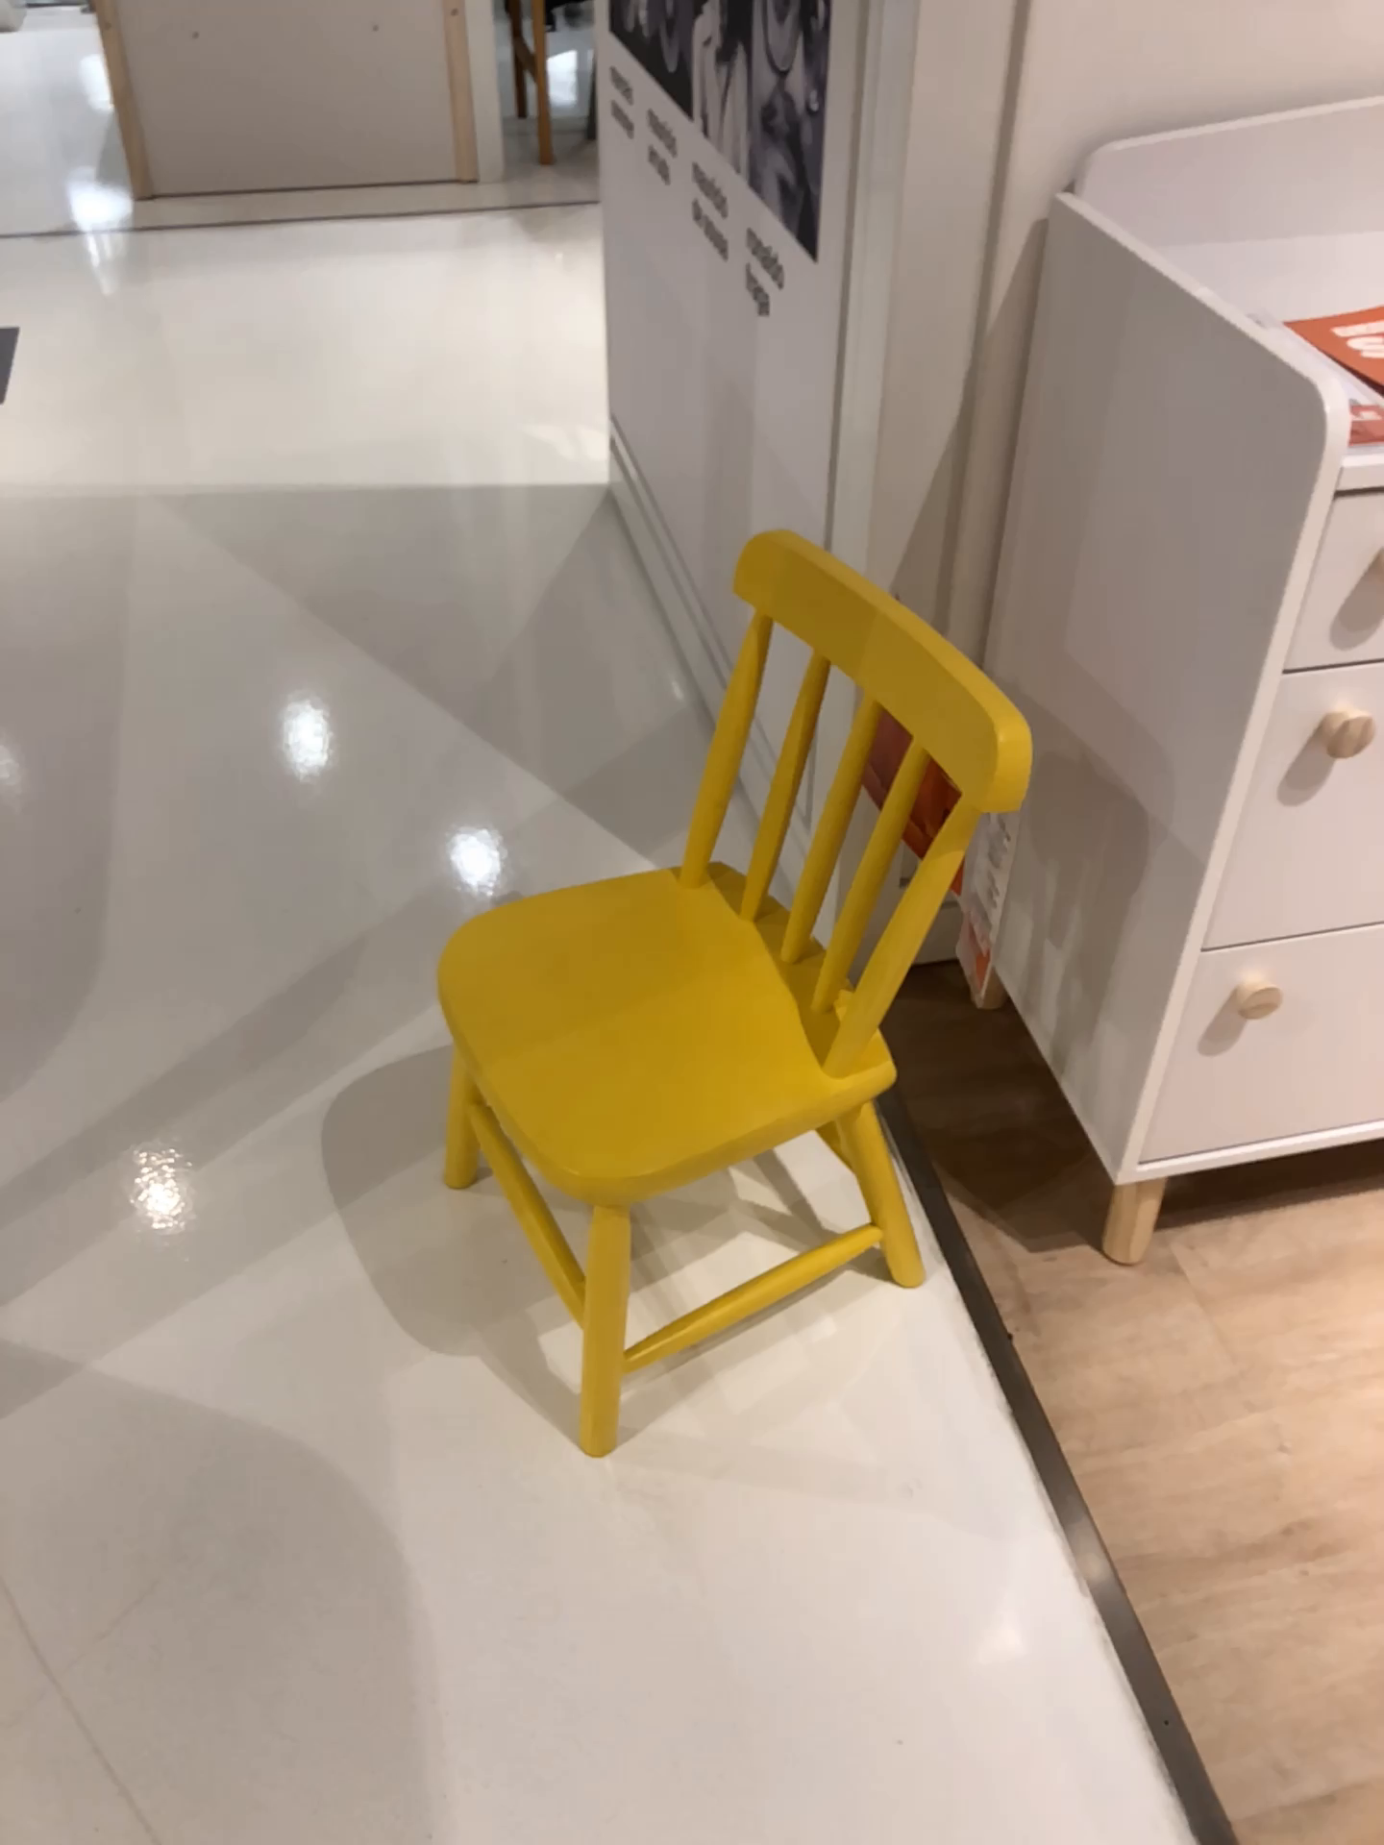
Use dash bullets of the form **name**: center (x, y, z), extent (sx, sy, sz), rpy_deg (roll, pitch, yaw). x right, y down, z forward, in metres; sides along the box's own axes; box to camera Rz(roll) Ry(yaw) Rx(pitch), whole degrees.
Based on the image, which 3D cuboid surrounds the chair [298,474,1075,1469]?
- **chair**: center (-0.019, 0.035, 1.190), extent (0.371, 0.576, 0.382), rpy_deg (-20, 45, -23)
